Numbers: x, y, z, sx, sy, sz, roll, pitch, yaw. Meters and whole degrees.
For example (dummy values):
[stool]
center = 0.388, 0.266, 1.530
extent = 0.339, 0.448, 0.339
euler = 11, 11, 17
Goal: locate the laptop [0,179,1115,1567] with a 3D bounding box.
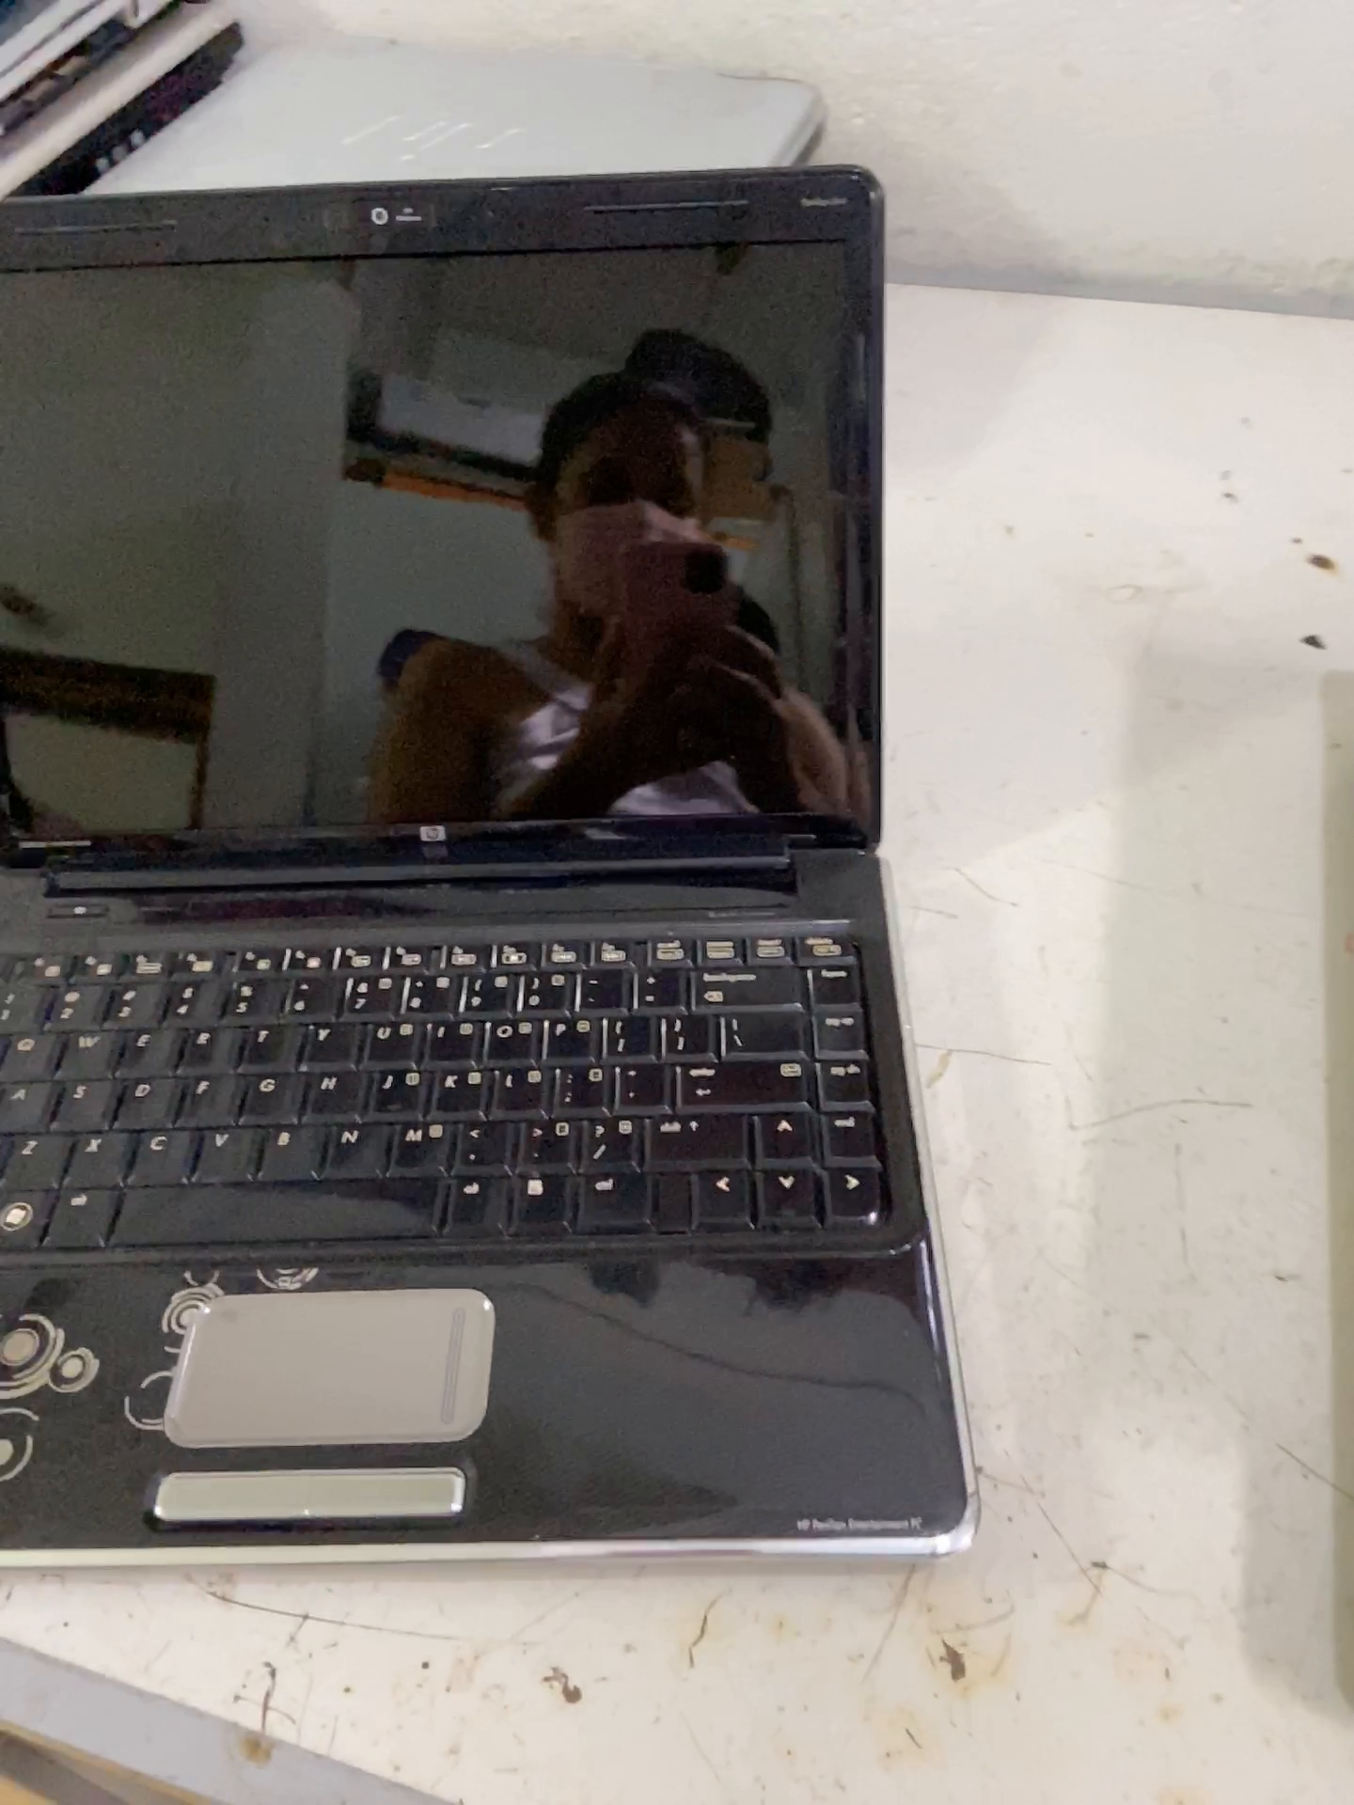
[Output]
[laptop]
center = -0.095, -0.035, 0.403
extent = 0.330, 0.176, 0.374
euler = -2, 48, 2
